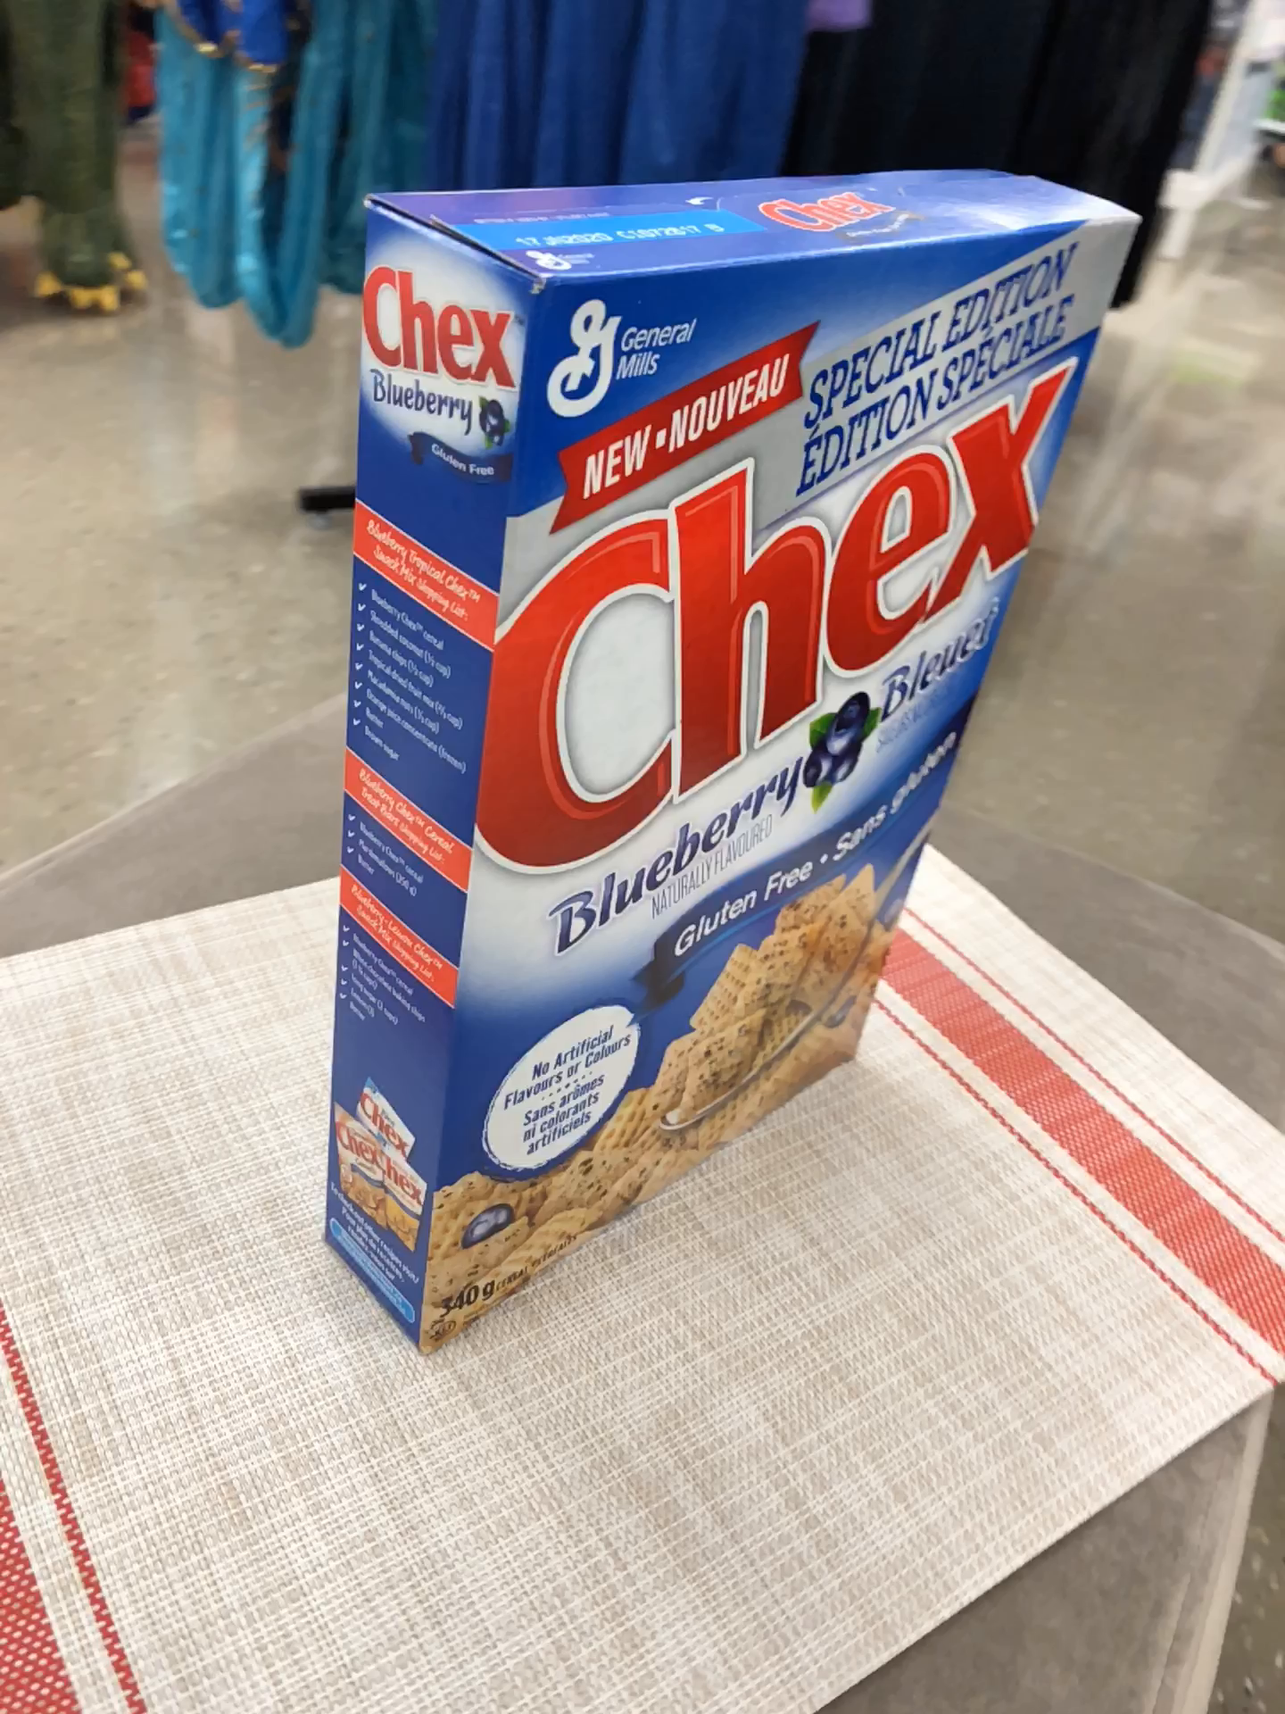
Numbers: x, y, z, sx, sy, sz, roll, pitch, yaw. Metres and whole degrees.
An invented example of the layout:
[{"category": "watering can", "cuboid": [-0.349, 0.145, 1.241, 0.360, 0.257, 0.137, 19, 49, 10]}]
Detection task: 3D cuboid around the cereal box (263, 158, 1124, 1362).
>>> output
[{"category": "cereal box", "cuboid": [0.006, -0.026, 0.355, 0.050, 0.259, 0.201, 35, 41, 31]}]
